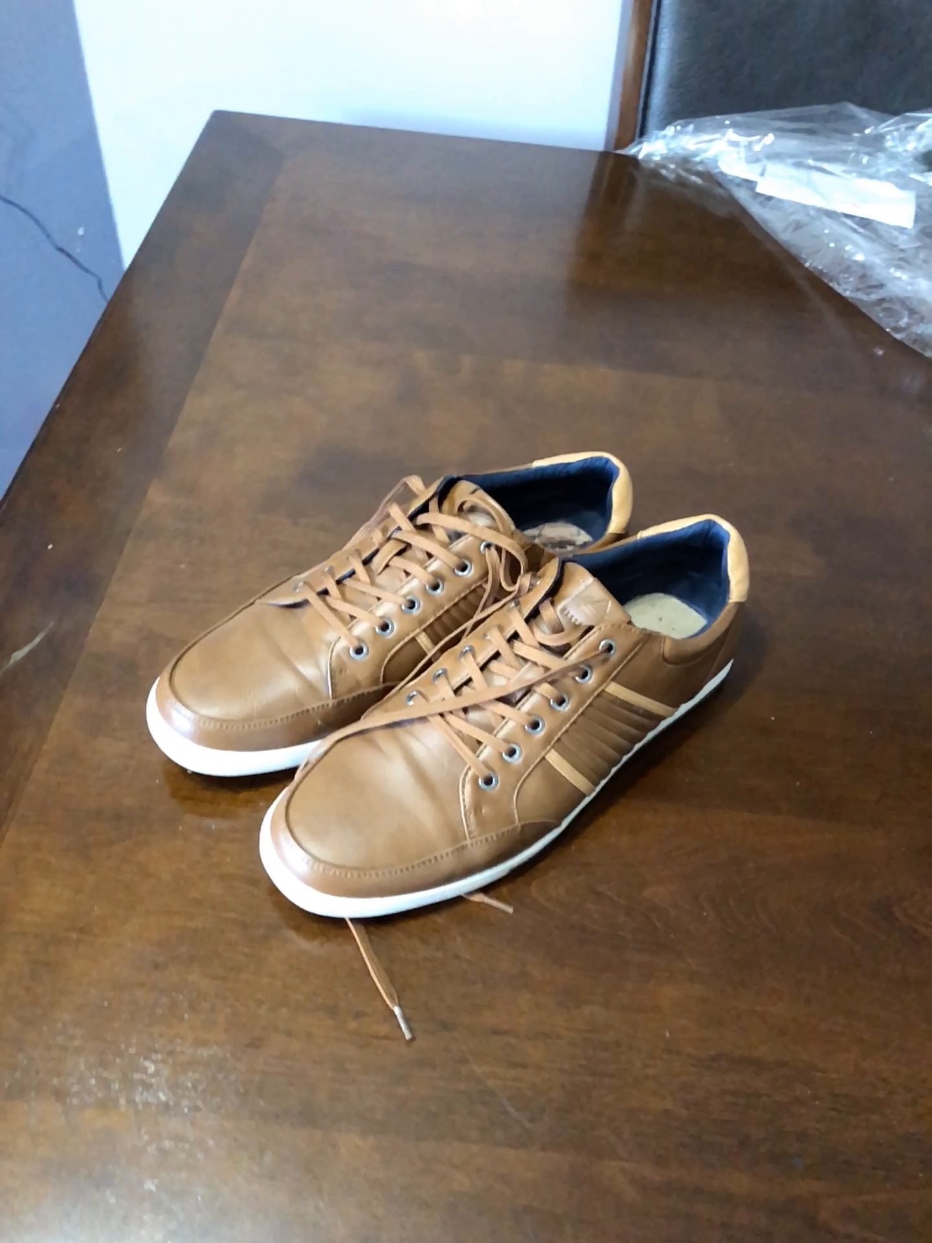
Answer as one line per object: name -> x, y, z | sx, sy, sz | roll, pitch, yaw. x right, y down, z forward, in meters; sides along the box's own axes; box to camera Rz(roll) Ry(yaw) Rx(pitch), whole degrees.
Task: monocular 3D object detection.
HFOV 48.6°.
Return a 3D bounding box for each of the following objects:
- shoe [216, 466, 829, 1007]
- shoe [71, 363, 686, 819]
shoe -> 0.036, 0.040, 0.510 | 0.290, 0.080, 0.110 | -32, 59, -28
shoe -> -0.035, -0.029, 0.540 | 0.290, 0.080, 0.110 | -27, 57, -26
